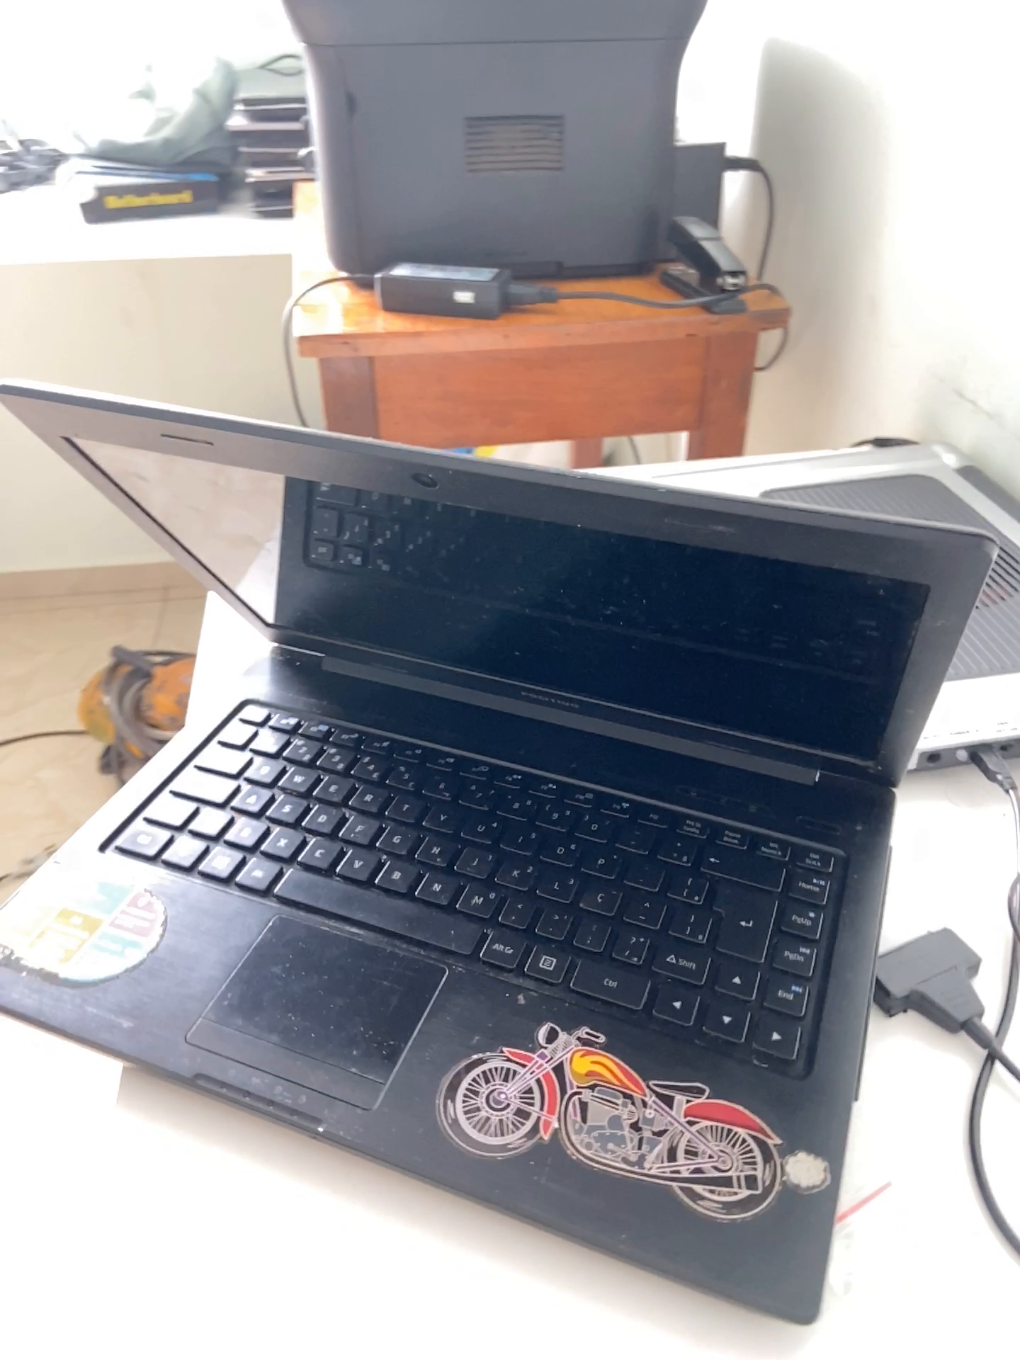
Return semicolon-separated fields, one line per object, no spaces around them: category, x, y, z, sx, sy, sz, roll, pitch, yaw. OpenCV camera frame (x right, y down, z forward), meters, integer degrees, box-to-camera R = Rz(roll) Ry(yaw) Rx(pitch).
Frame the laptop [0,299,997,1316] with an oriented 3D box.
laptop;-0.024;0.005;0.385;0.330;0.189;0.234;12;38;19
